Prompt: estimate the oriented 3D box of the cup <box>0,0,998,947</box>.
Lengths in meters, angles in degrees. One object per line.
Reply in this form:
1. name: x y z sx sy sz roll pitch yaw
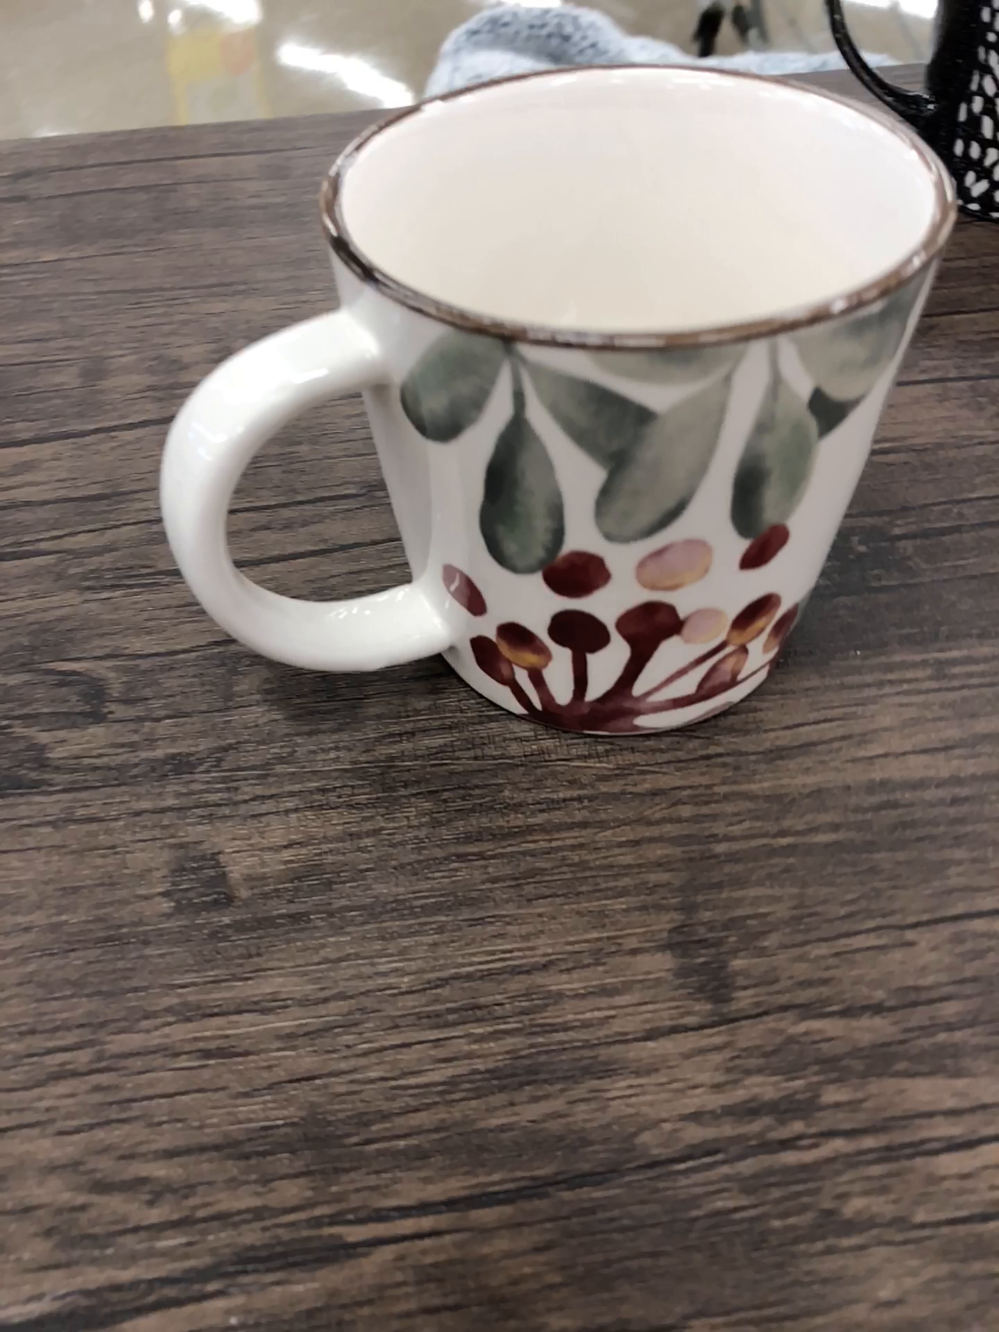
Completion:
1. cup: 0.008 -0.046 0.219 0.150 0.110 0.100 -24 51 -19
